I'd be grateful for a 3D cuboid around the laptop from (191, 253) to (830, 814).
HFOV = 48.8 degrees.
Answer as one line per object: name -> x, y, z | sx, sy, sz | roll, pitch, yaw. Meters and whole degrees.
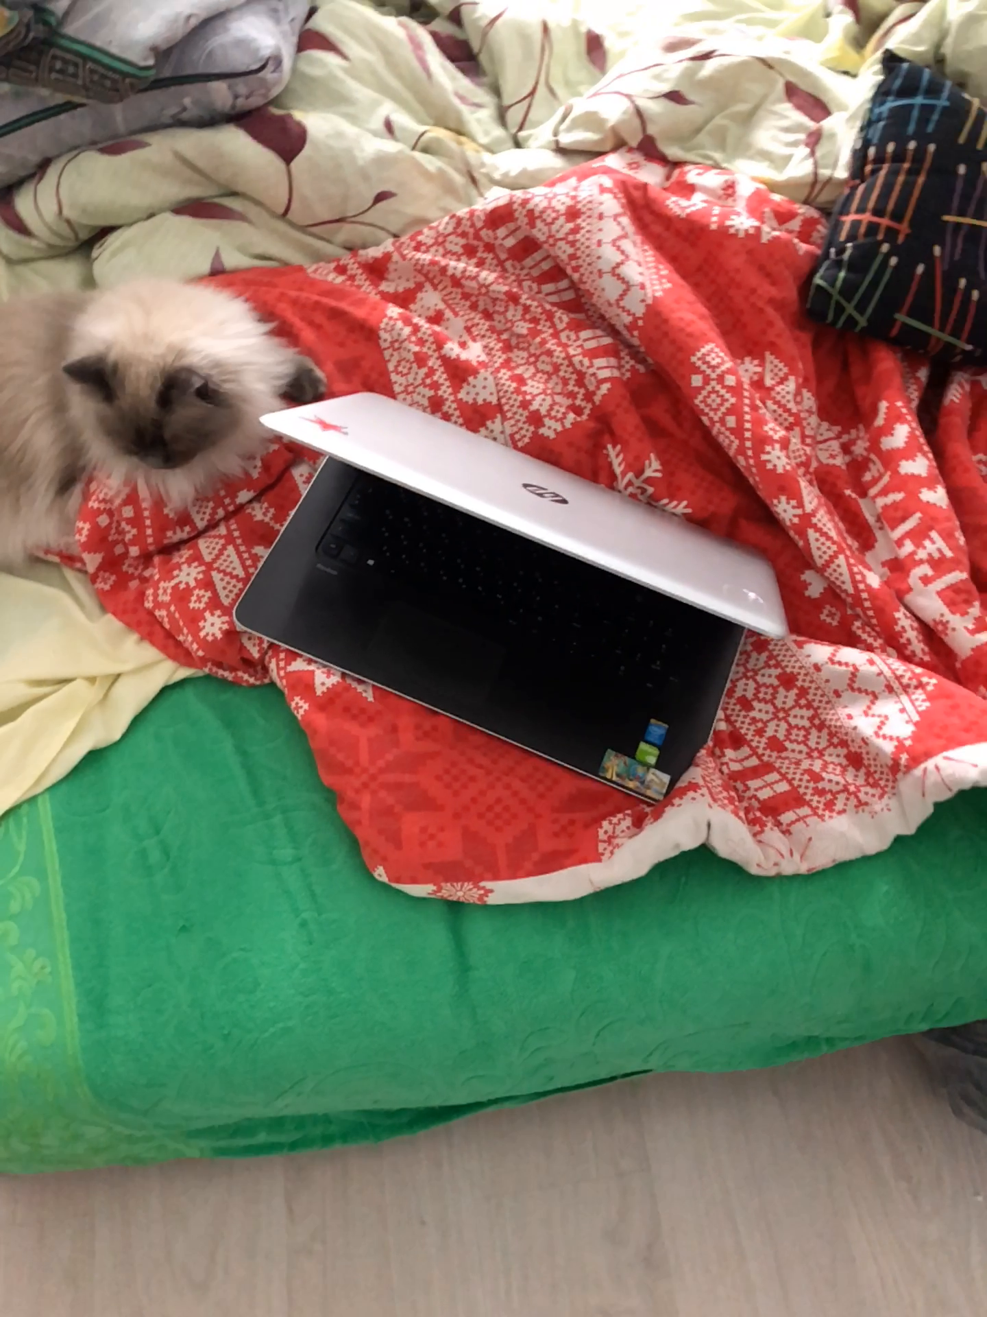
laptop -> 0.023, -0.104, 0.904 | 0.414, 0.176, 0.277 | 23, 63, 5
